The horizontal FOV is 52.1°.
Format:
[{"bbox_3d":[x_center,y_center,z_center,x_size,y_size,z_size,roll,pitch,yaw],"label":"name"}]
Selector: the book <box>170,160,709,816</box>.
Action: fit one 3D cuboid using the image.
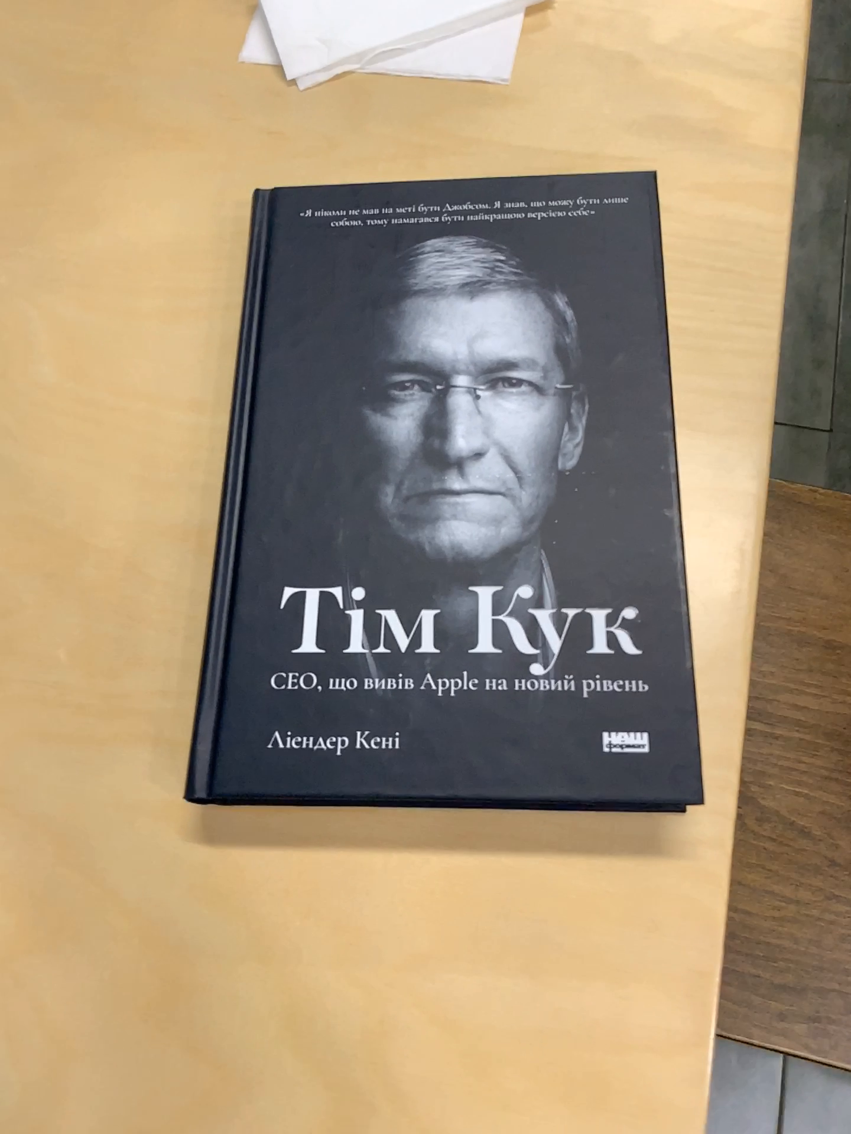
[{"bbox_3d":[0.007,-0.034,0.287,0.144,0.034,0.217,0,69,6],"label":"book"}]
